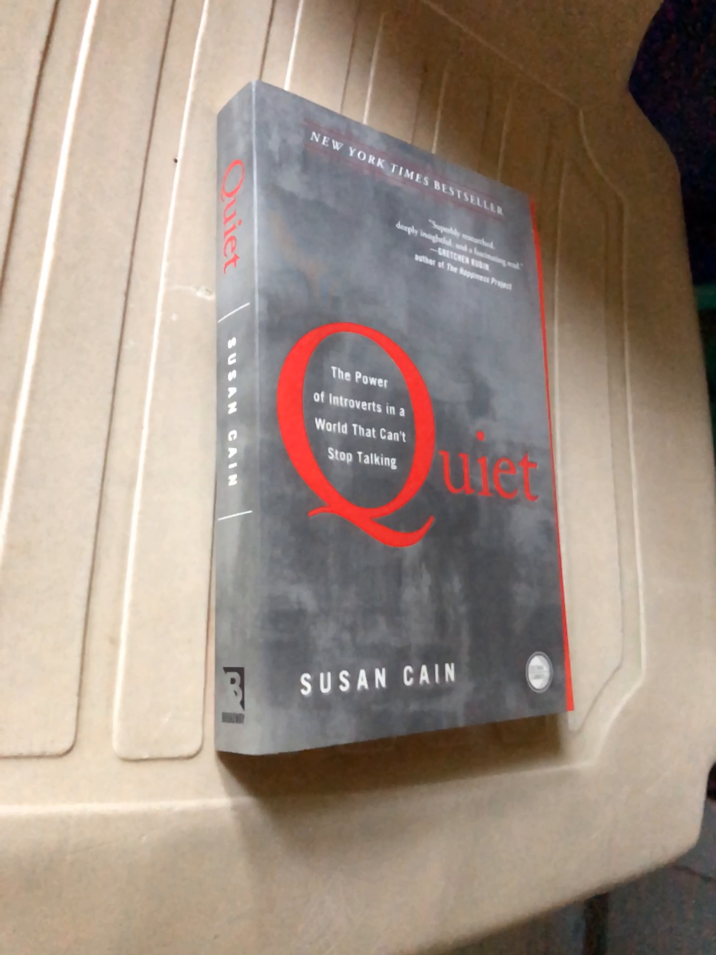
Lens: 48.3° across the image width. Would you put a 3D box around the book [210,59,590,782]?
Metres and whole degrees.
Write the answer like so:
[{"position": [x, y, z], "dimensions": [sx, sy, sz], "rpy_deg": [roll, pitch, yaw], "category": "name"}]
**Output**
[{"position": [0.017, -0.015, 0.266], "dimensions": [0.131, 0.030, 0.200], "rpy_deg": [7, 77, -38], "category": "book"}]
